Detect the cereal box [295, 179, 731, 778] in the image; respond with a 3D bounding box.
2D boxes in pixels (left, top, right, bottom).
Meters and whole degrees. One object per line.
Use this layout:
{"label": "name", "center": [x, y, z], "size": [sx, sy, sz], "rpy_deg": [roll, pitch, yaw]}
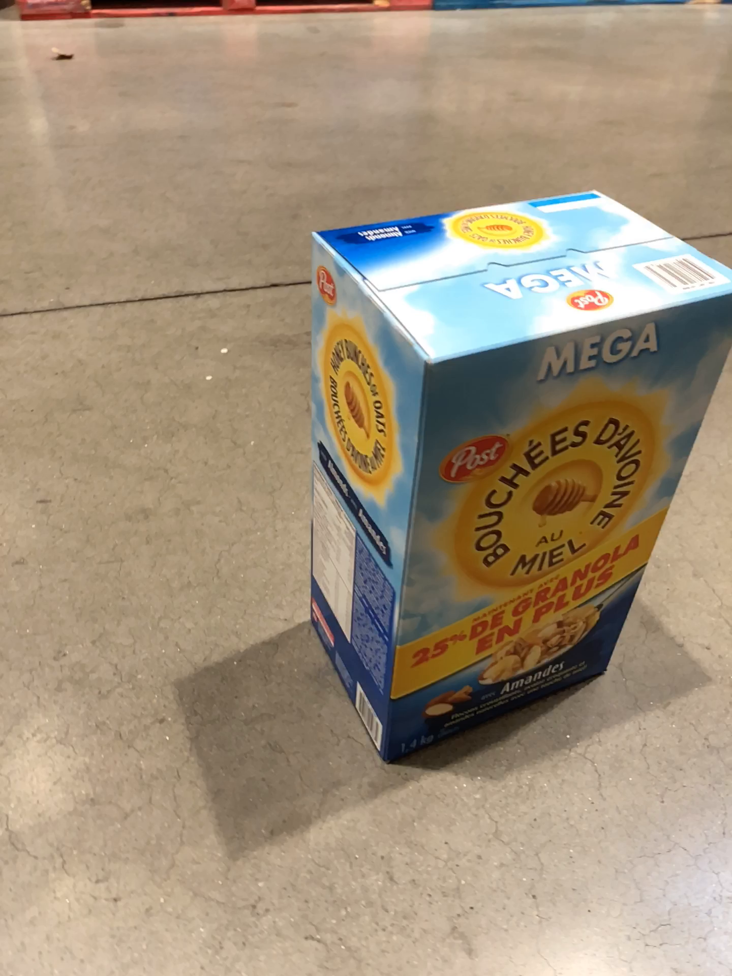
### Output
{"label": "cereal box", "center": [0.082, 0.001, 0.532], "size": [0.210, 0.329, 0.150], "rpy_deg": [-16, 45, -21]}
